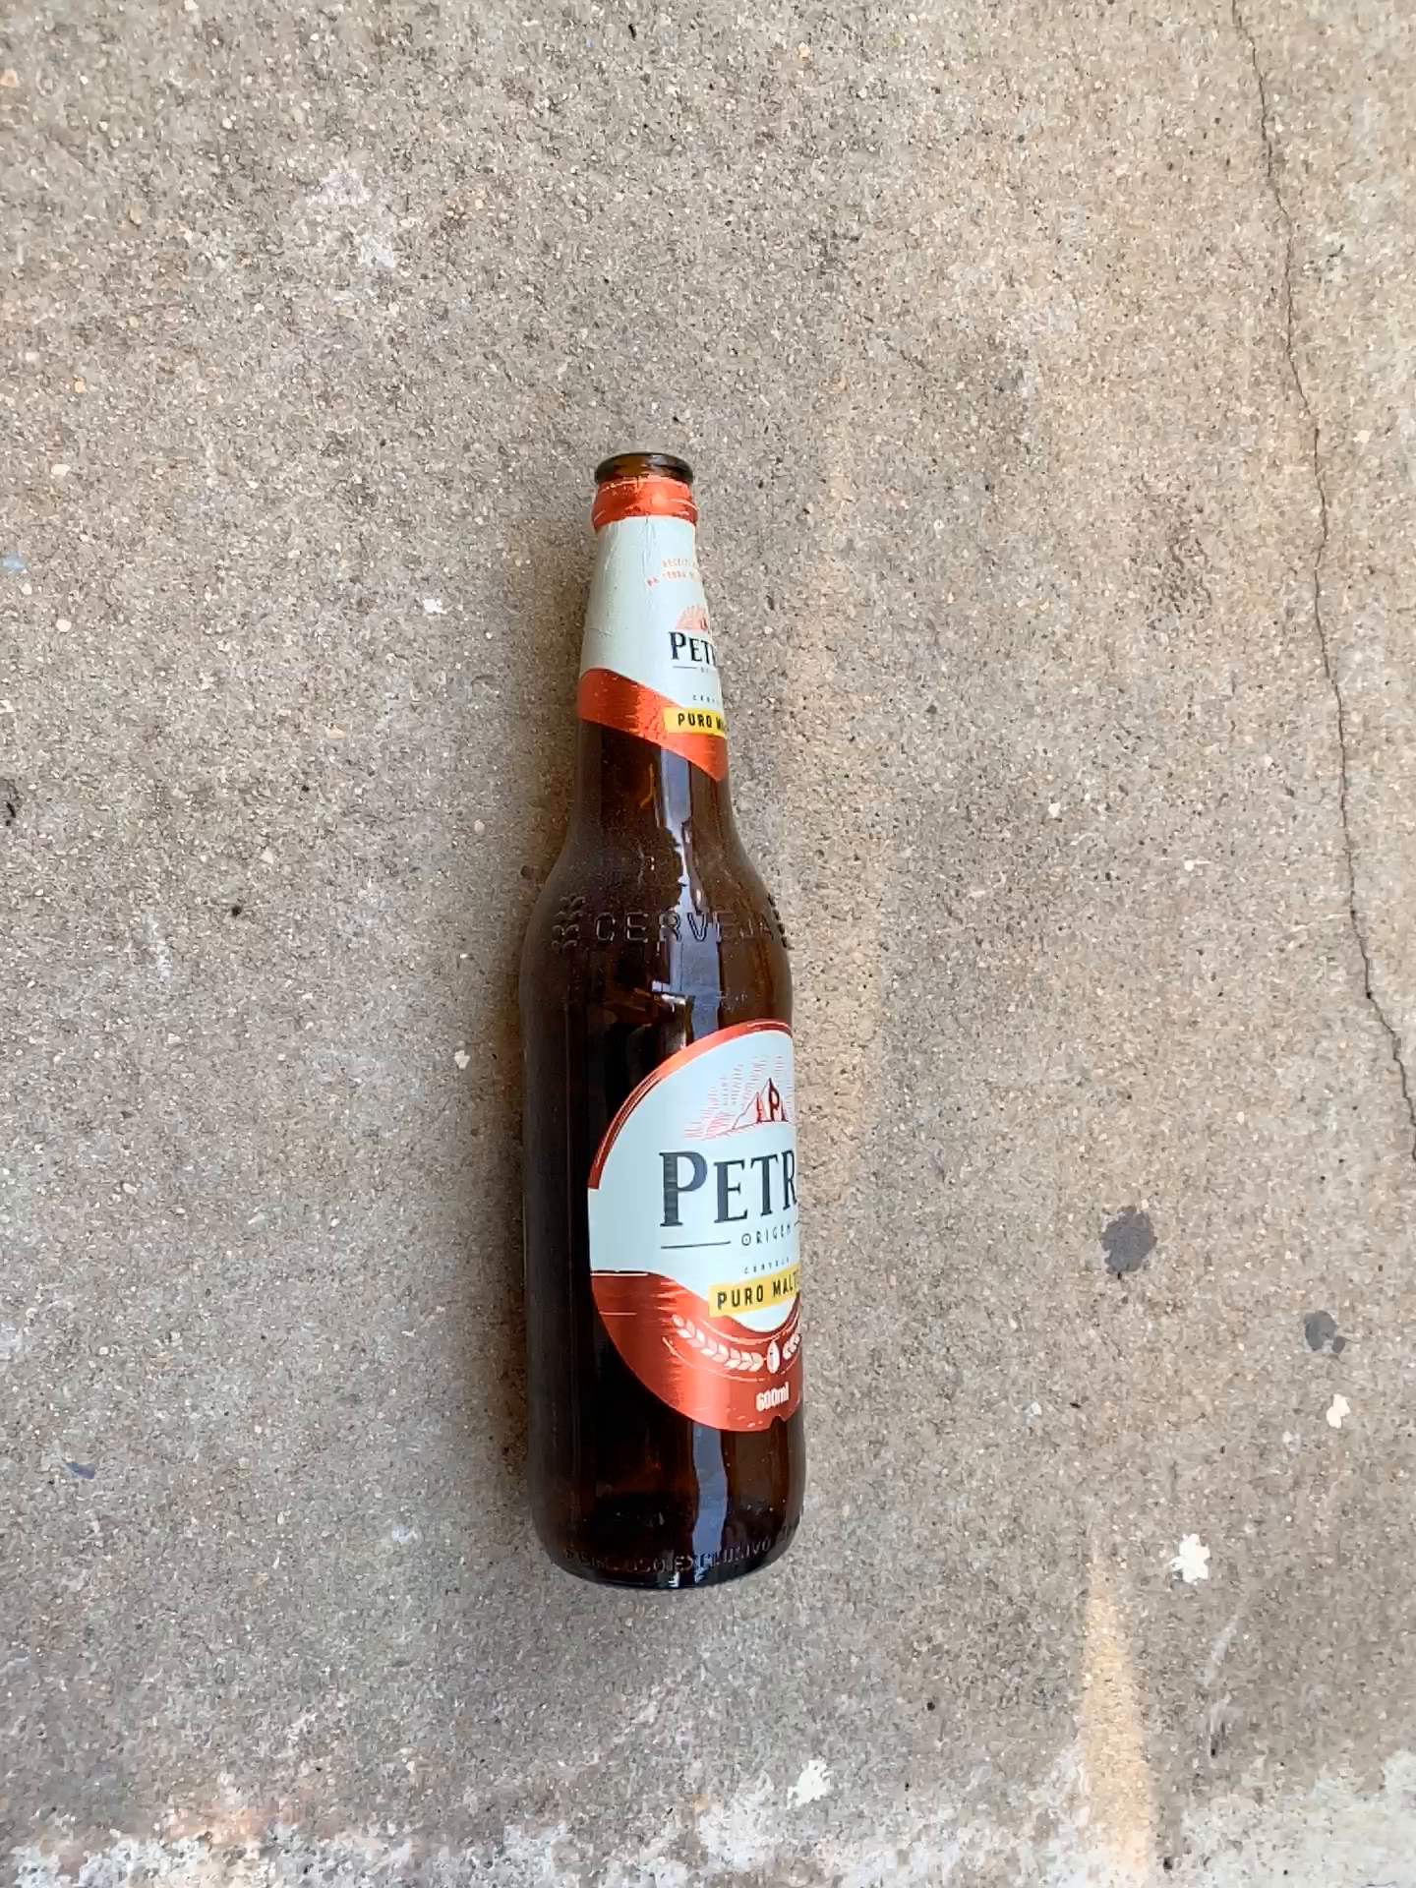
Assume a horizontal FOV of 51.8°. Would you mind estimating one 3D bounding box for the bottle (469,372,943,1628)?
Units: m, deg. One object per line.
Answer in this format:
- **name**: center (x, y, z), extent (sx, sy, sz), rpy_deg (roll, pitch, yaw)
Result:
- **bottle**: center (0.000, 0.012, 0.365), extent (0.080, 0.070, 0.270), rpy_deg (4, 81, -55)
